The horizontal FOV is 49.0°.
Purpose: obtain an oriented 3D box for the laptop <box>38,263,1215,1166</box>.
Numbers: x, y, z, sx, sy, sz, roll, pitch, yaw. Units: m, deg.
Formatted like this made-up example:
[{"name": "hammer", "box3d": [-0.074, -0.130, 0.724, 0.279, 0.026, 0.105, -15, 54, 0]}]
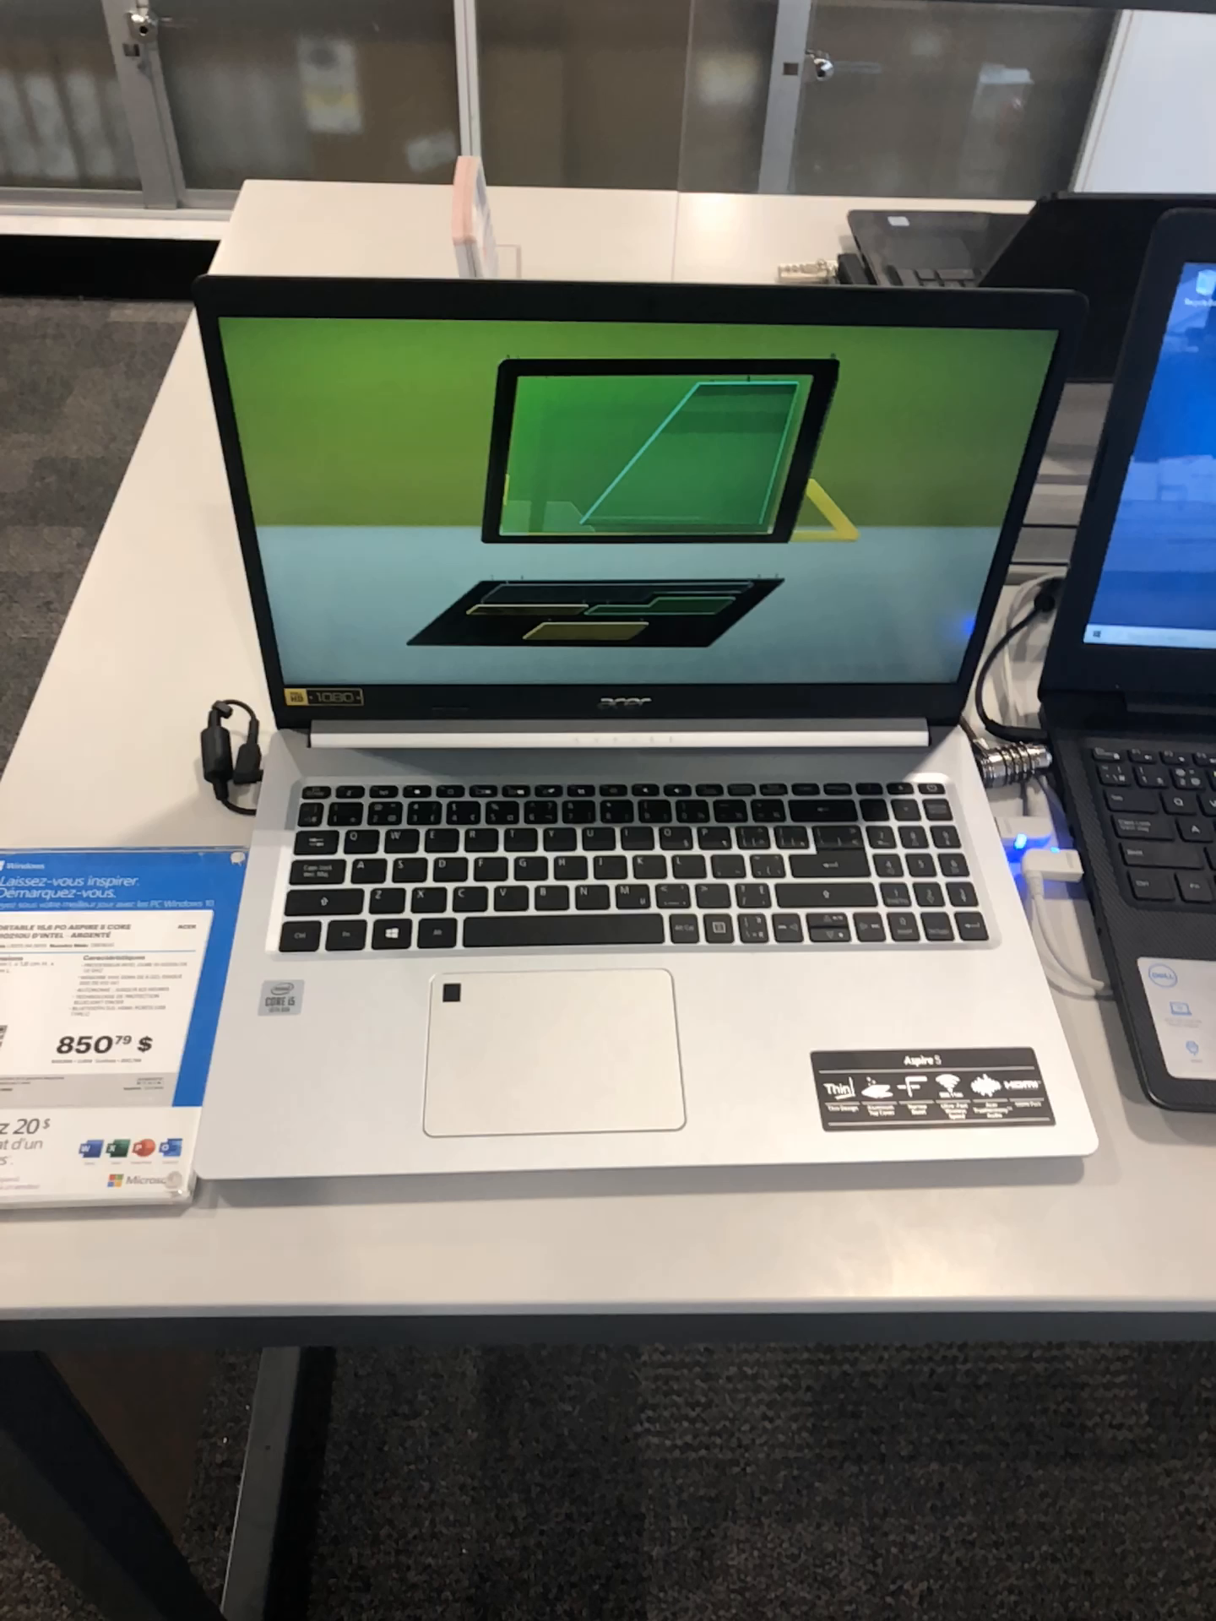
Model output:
[{"name": "laptop", "box3d": [0.013, -0.042, 0.534, 0.349, 0.229, 0.268, -1, 48, -2]}]
